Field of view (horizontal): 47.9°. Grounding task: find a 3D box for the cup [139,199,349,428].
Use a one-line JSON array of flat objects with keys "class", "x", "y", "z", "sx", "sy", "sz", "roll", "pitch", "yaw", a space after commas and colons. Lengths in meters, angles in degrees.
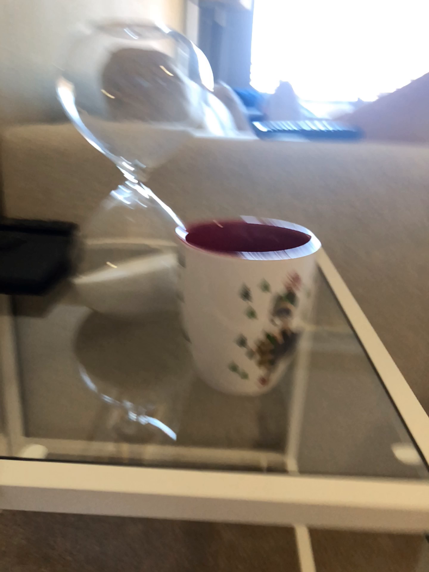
[{"class": "cup", "x": 0.028, "y": 0.005, "z": 0.368, "sx": 0.100, "sy": 0.110, "sz": 0.151, "roll": 13, "pitch": 23, "yaw": 24}]
